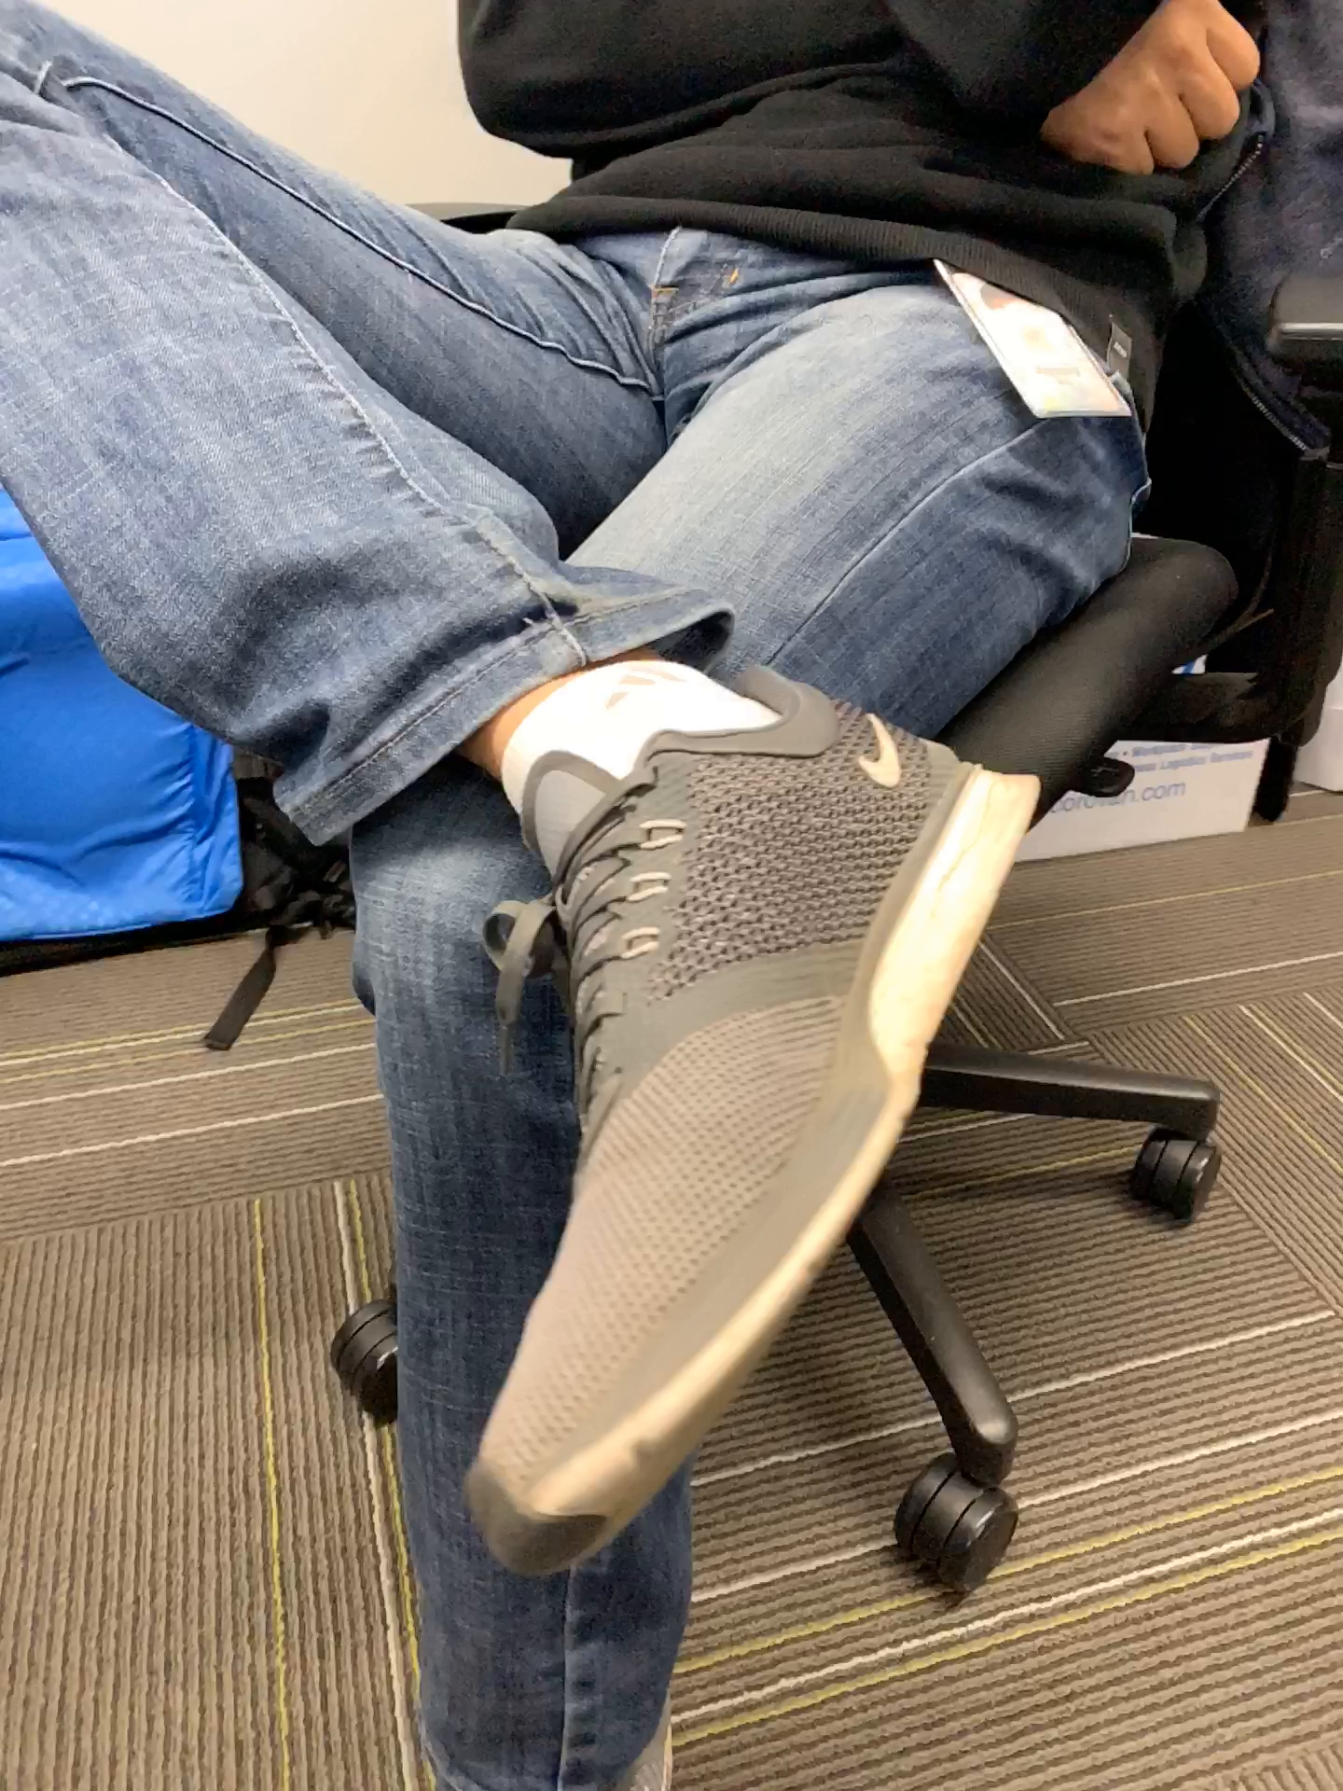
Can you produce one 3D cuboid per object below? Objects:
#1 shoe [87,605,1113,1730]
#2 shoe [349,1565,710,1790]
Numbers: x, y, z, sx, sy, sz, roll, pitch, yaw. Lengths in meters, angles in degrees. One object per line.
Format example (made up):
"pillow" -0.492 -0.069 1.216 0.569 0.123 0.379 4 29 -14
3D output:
"shoe" 0.010 0.032 0.386 0.133 0.120 0.296 19 34 21
"shoe" -0.049 0.480 0.643 0.113 0.092 0.289 3 32 4
